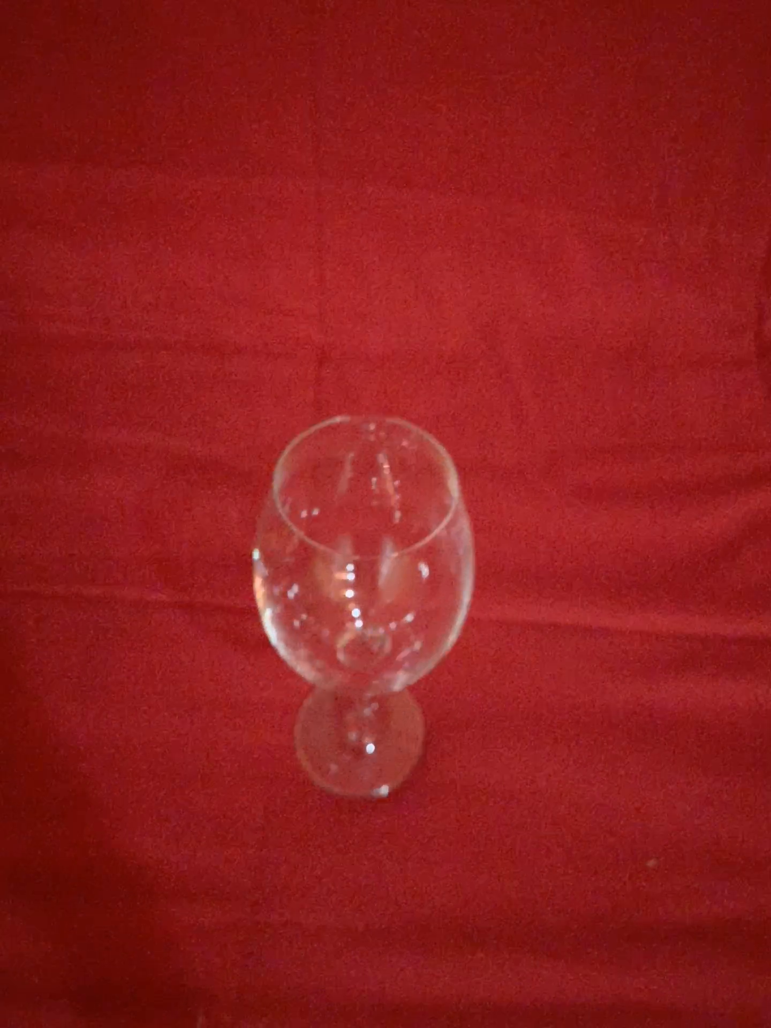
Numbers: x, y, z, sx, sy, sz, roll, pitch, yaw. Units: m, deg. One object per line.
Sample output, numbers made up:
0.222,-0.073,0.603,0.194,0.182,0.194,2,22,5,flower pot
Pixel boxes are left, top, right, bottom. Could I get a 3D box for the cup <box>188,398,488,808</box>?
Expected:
-0.015,0.062,0.379,0.094,0.246,0.083,4,57,1,cup
